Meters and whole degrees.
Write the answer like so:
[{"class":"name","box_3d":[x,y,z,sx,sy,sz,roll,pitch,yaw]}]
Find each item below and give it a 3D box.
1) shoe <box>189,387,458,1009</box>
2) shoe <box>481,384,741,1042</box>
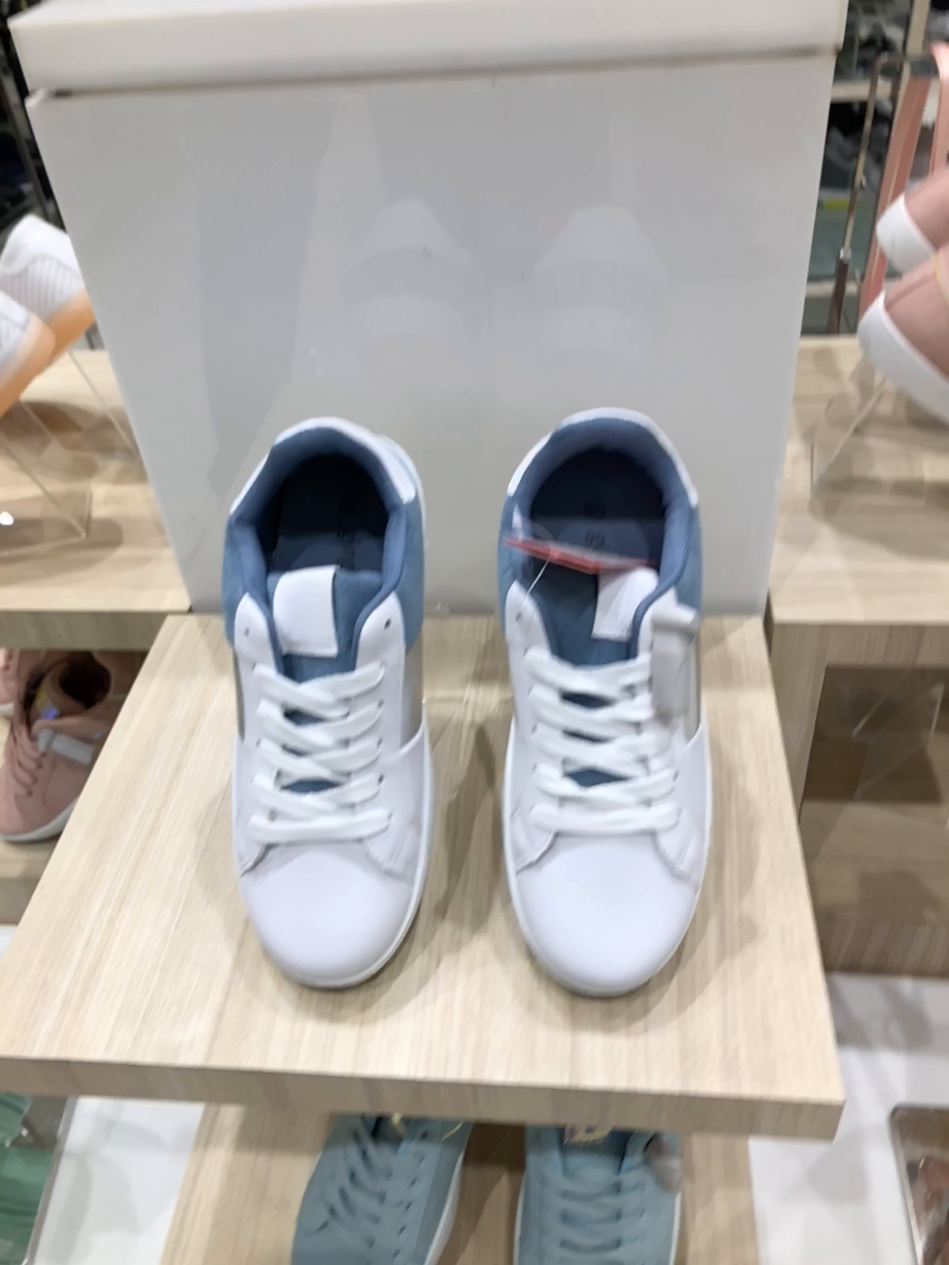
[{"class":"shoe","box_3d":[-0.065,0.026,0.490,0.100,0.260,0.090,1,0,7]},{"class":"shoe","box_3d":[0.060,0.031,0.466,0.100,0.260,0.090,1,0,7]}]
